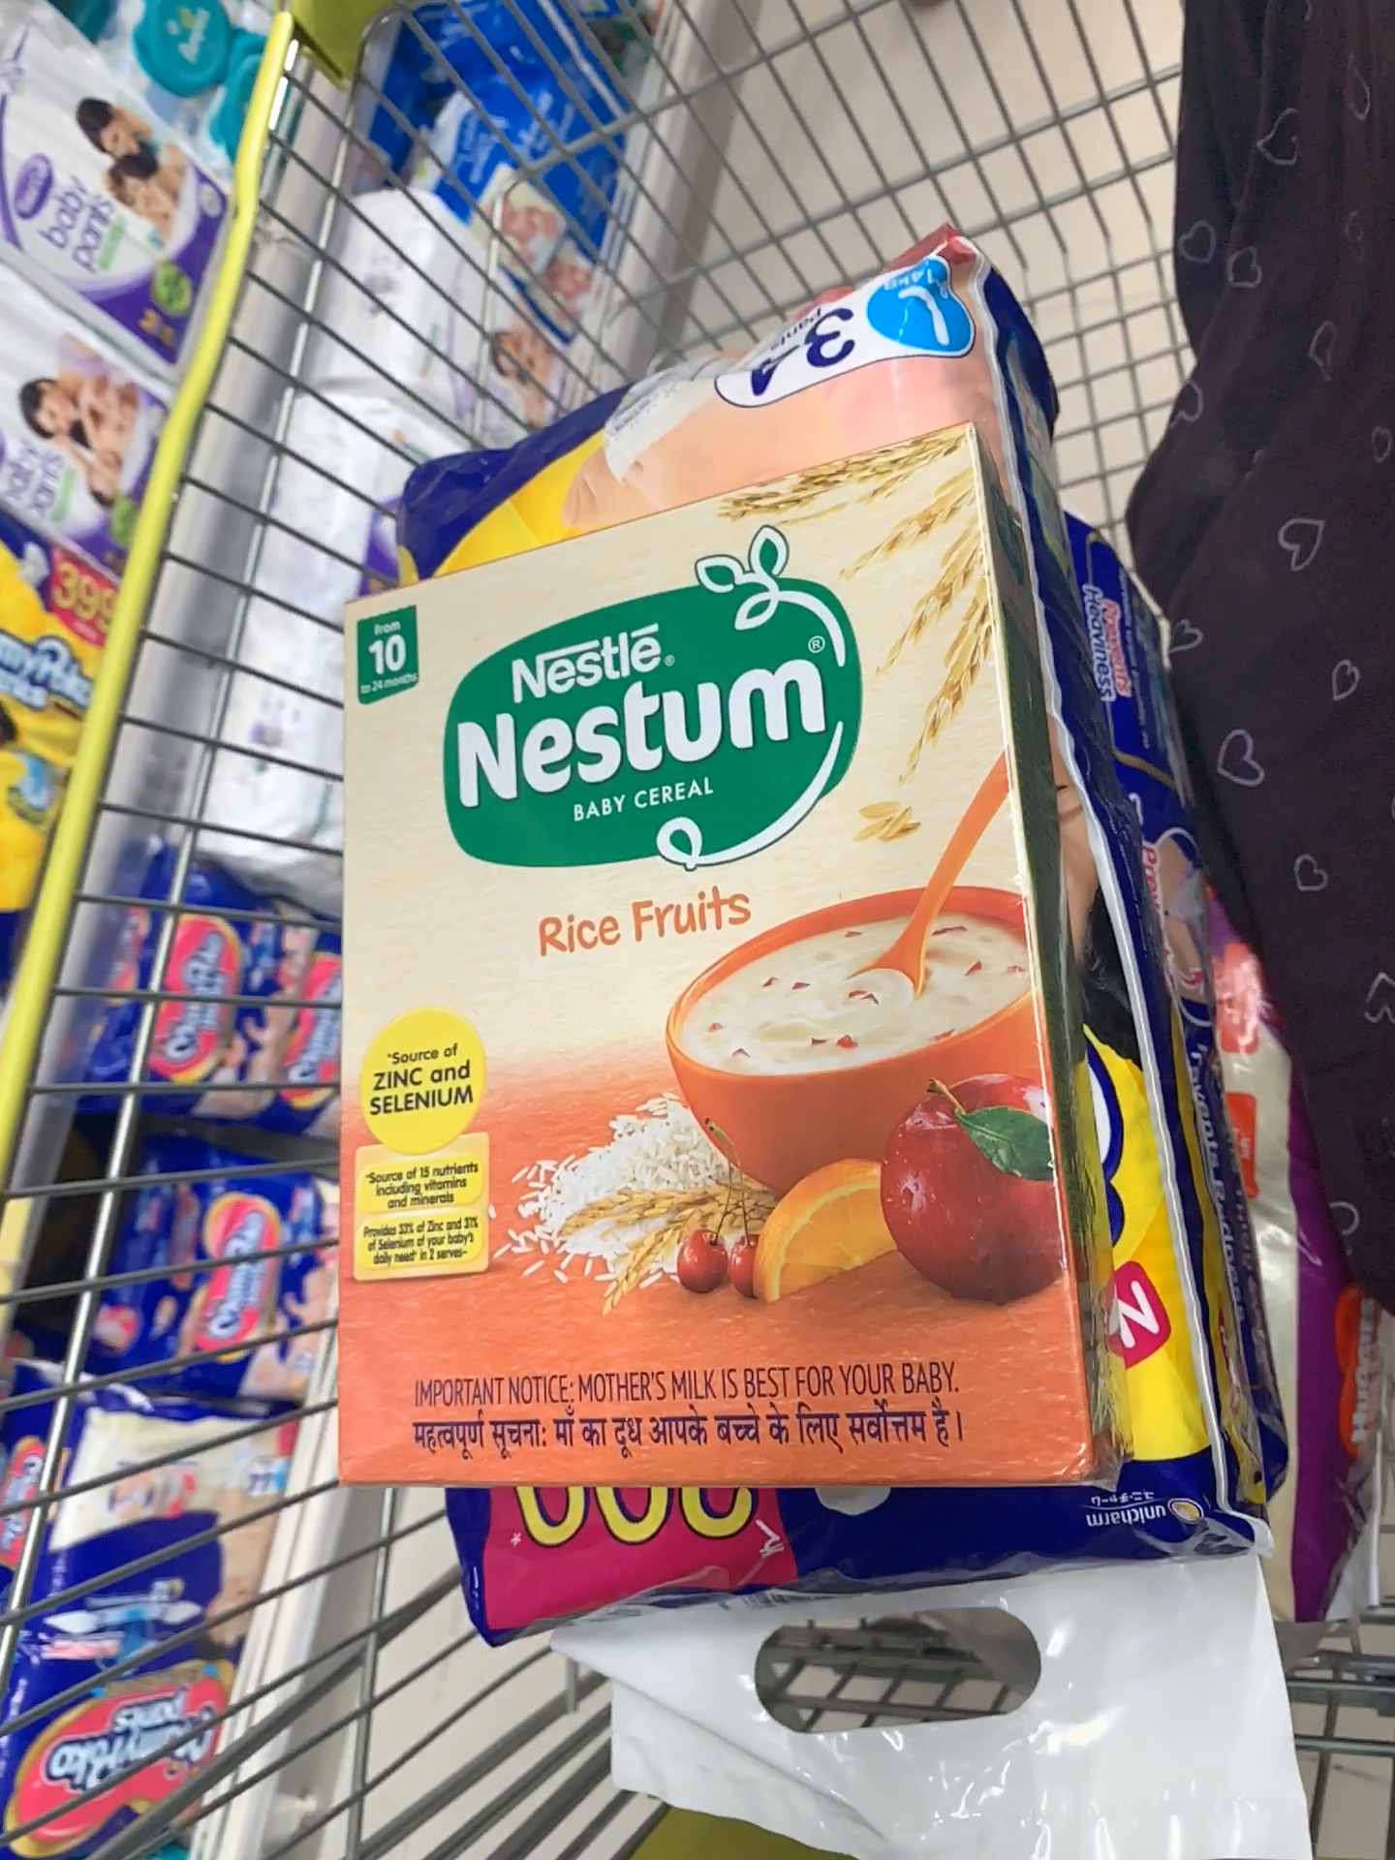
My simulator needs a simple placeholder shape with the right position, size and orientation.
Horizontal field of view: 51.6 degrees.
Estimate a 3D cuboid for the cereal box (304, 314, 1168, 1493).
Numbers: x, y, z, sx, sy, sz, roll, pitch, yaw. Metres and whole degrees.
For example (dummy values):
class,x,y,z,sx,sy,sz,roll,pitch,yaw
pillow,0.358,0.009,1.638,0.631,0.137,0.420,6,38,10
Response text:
class,x,y,z,sx,sy,sz,roll,pitch,yaw
cereal box,-0.002,0.002,0.303,0.161,0.050,0.210,-10,75,24
